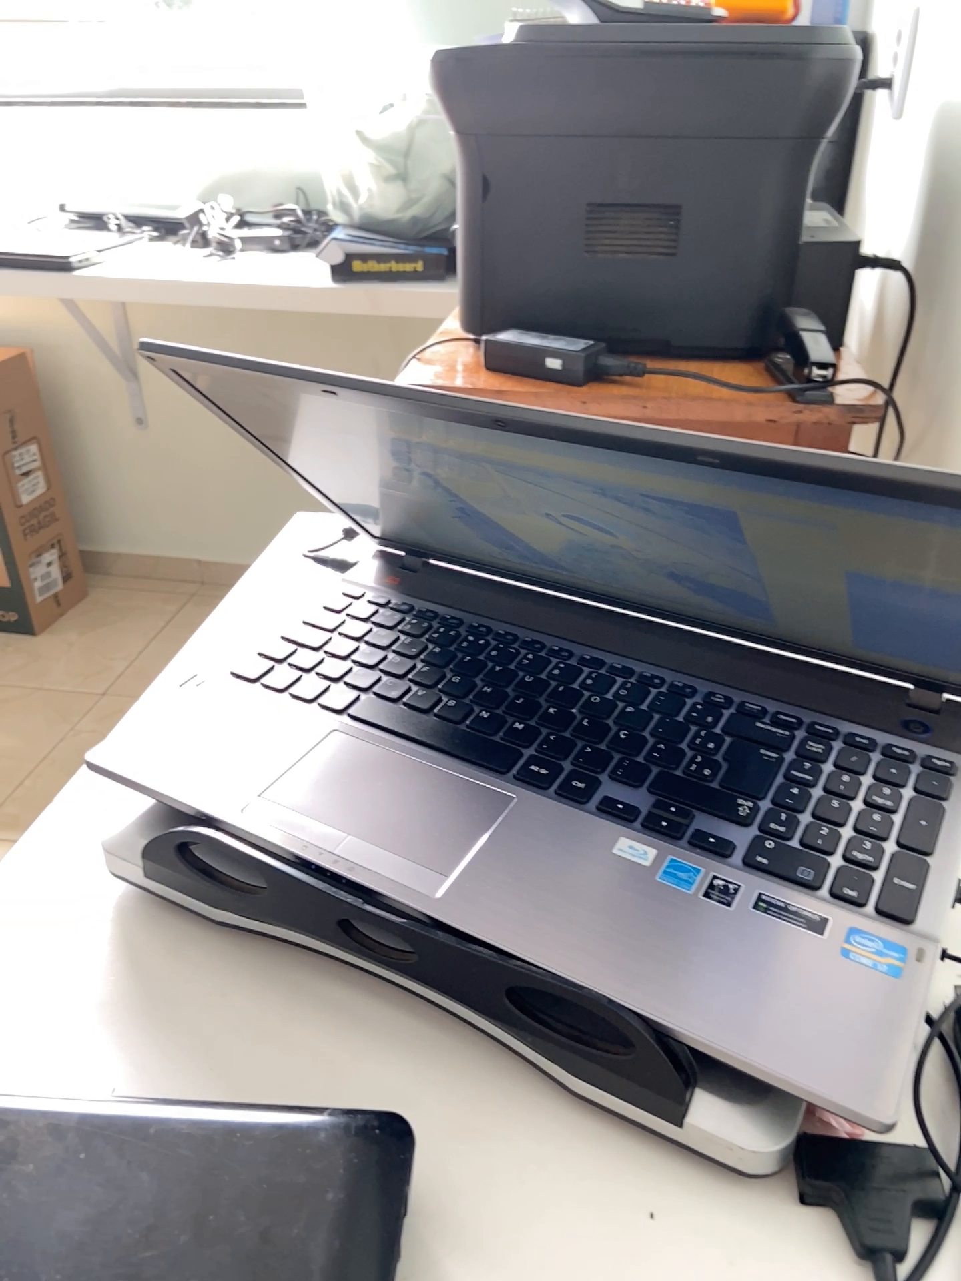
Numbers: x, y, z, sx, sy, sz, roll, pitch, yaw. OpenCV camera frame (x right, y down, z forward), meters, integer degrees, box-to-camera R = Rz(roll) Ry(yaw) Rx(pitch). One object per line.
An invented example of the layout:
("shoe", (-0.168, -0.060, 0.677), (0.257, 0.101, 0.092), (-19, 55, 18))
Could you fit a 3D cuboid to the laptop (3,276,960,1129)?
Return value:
("laptop", (0.029, -0.025, 0.425), (0.359, 0.164, 0.231), (17, 37, 25))
